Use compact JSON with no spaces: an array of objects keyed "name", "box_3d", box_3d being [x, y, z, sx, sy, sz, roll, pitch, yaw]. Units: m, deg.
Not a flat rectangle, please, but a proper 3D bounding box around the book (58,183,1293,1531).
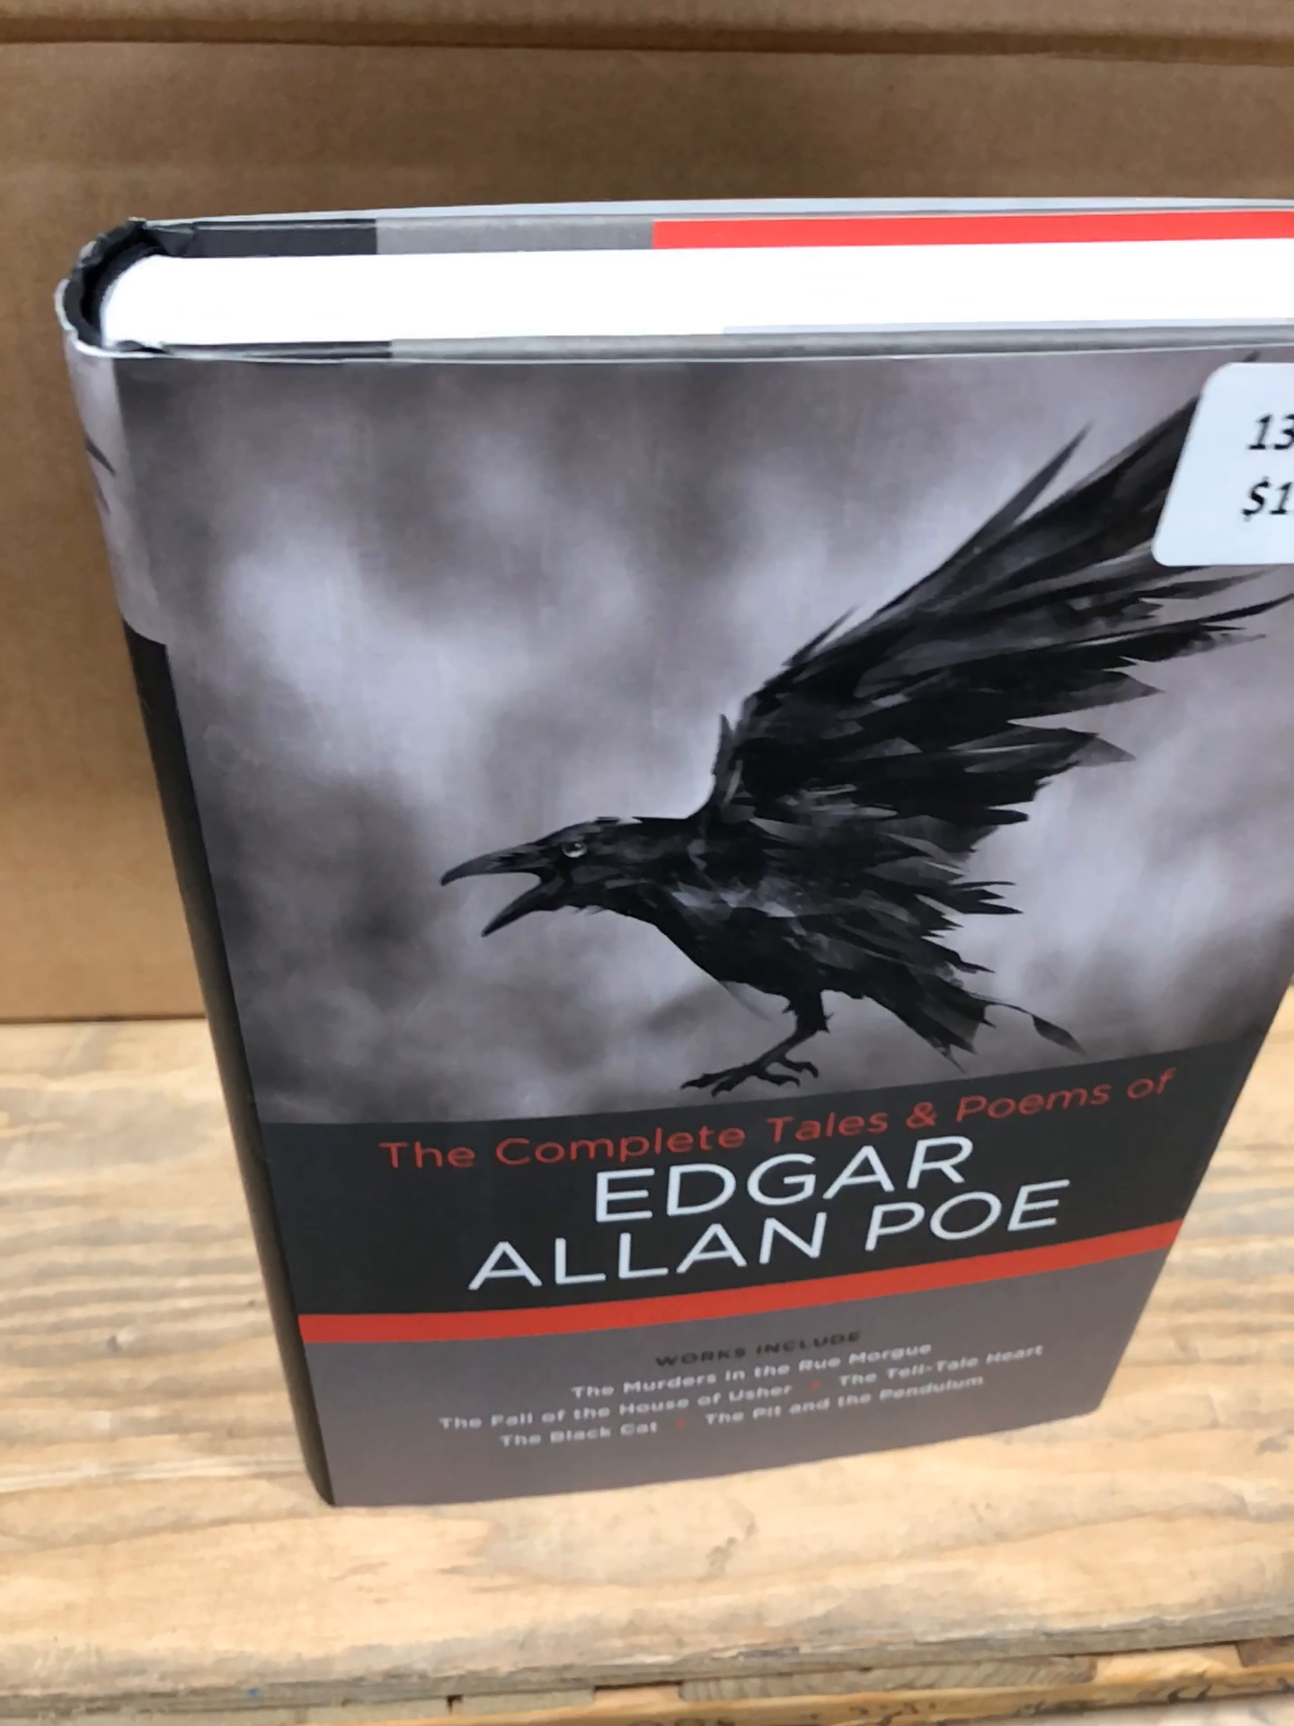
[{"name":"book","box_3d":[0.019,0.020,0.249,0.171,0.240,0.054,-4,41,-8]}]
